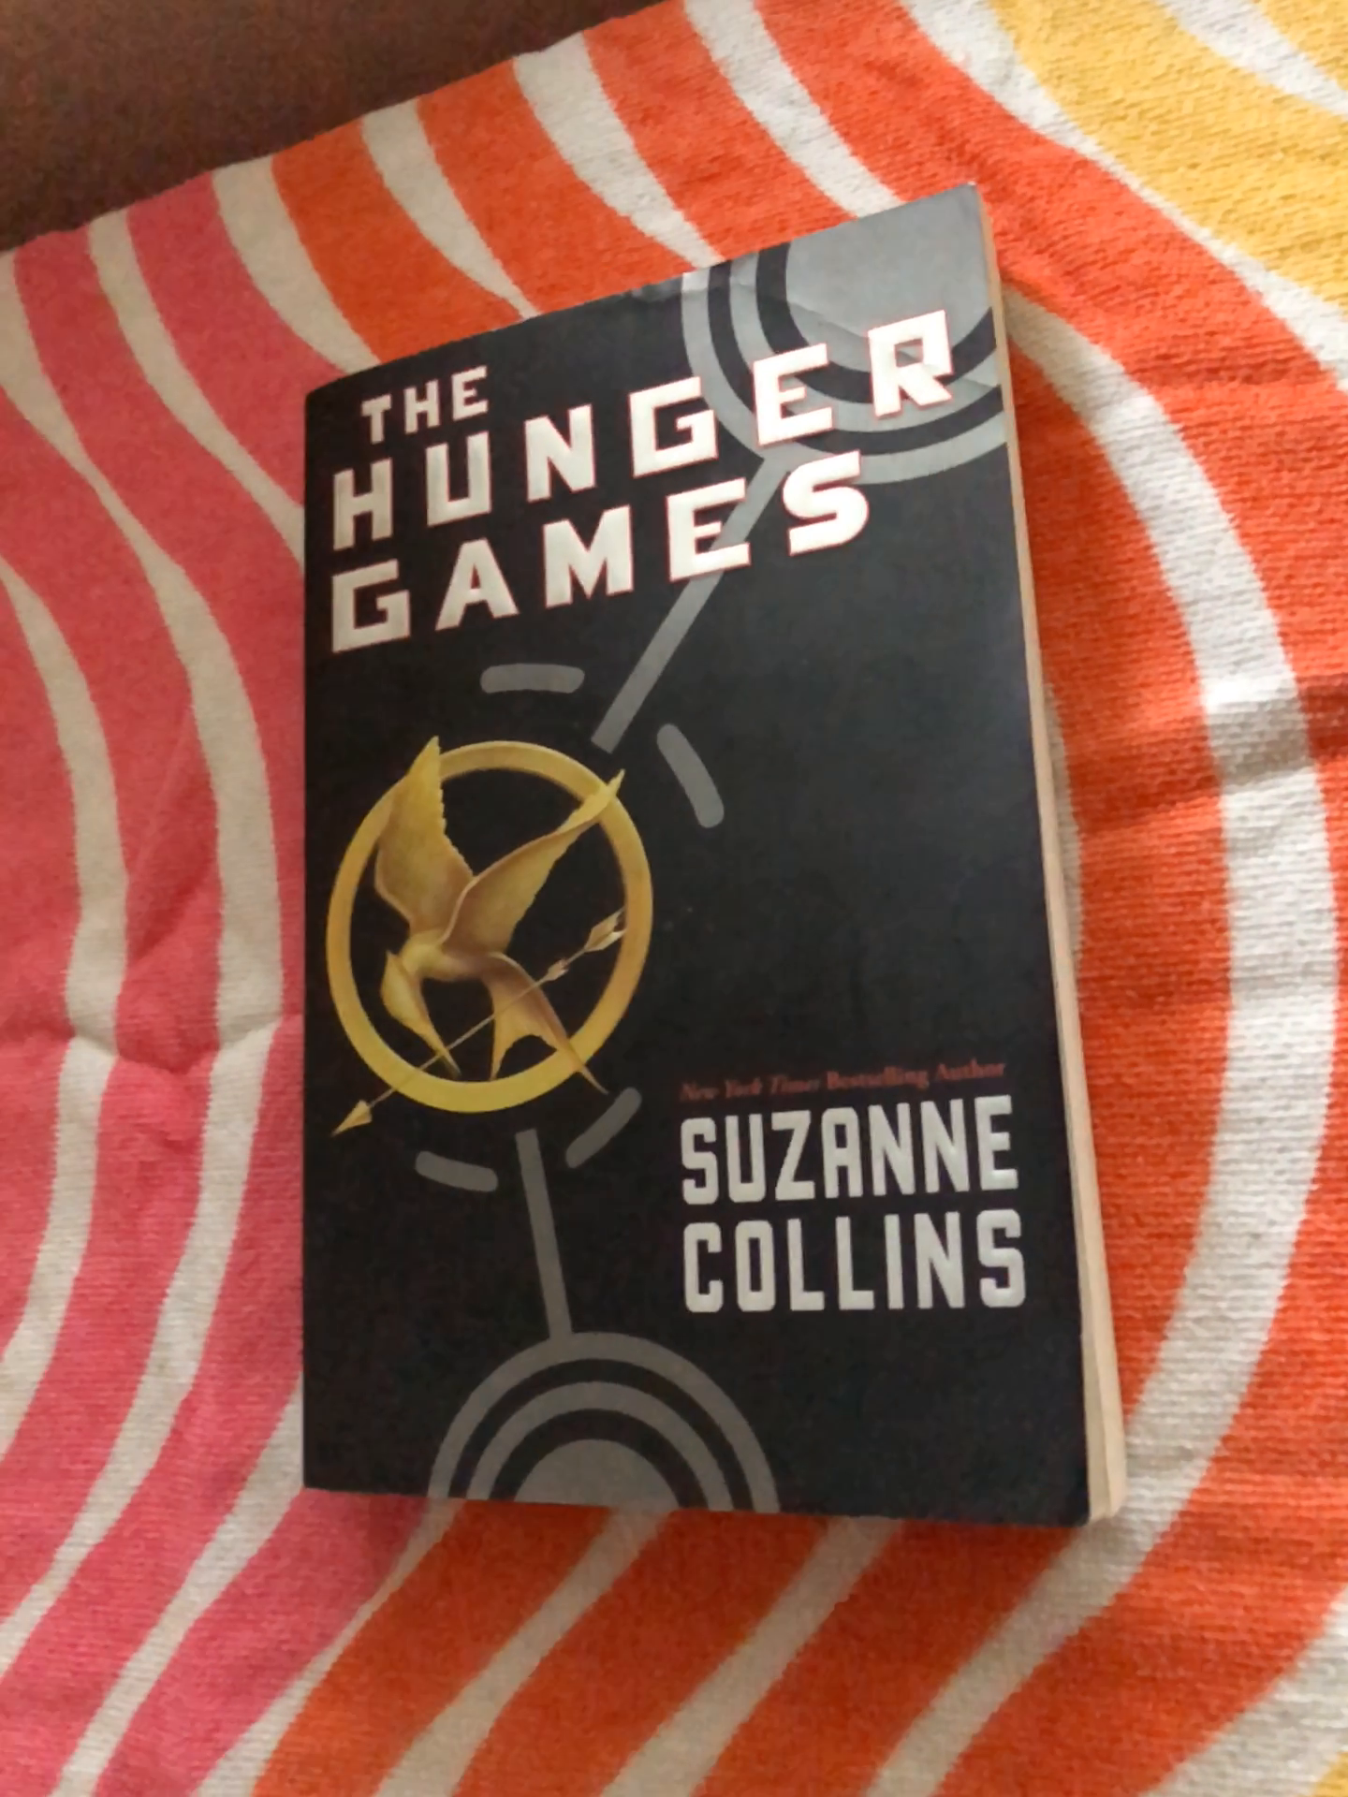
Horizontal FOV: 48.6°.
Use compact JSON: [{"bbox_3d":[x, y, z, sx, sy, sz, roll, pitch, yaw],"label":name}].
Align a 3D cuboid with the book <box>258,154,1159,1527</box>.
[{"bbox_3d":[-0.002,-0.007,0.254,0.138,0.037,0.200,-7,77,23],"label":"book"}]
